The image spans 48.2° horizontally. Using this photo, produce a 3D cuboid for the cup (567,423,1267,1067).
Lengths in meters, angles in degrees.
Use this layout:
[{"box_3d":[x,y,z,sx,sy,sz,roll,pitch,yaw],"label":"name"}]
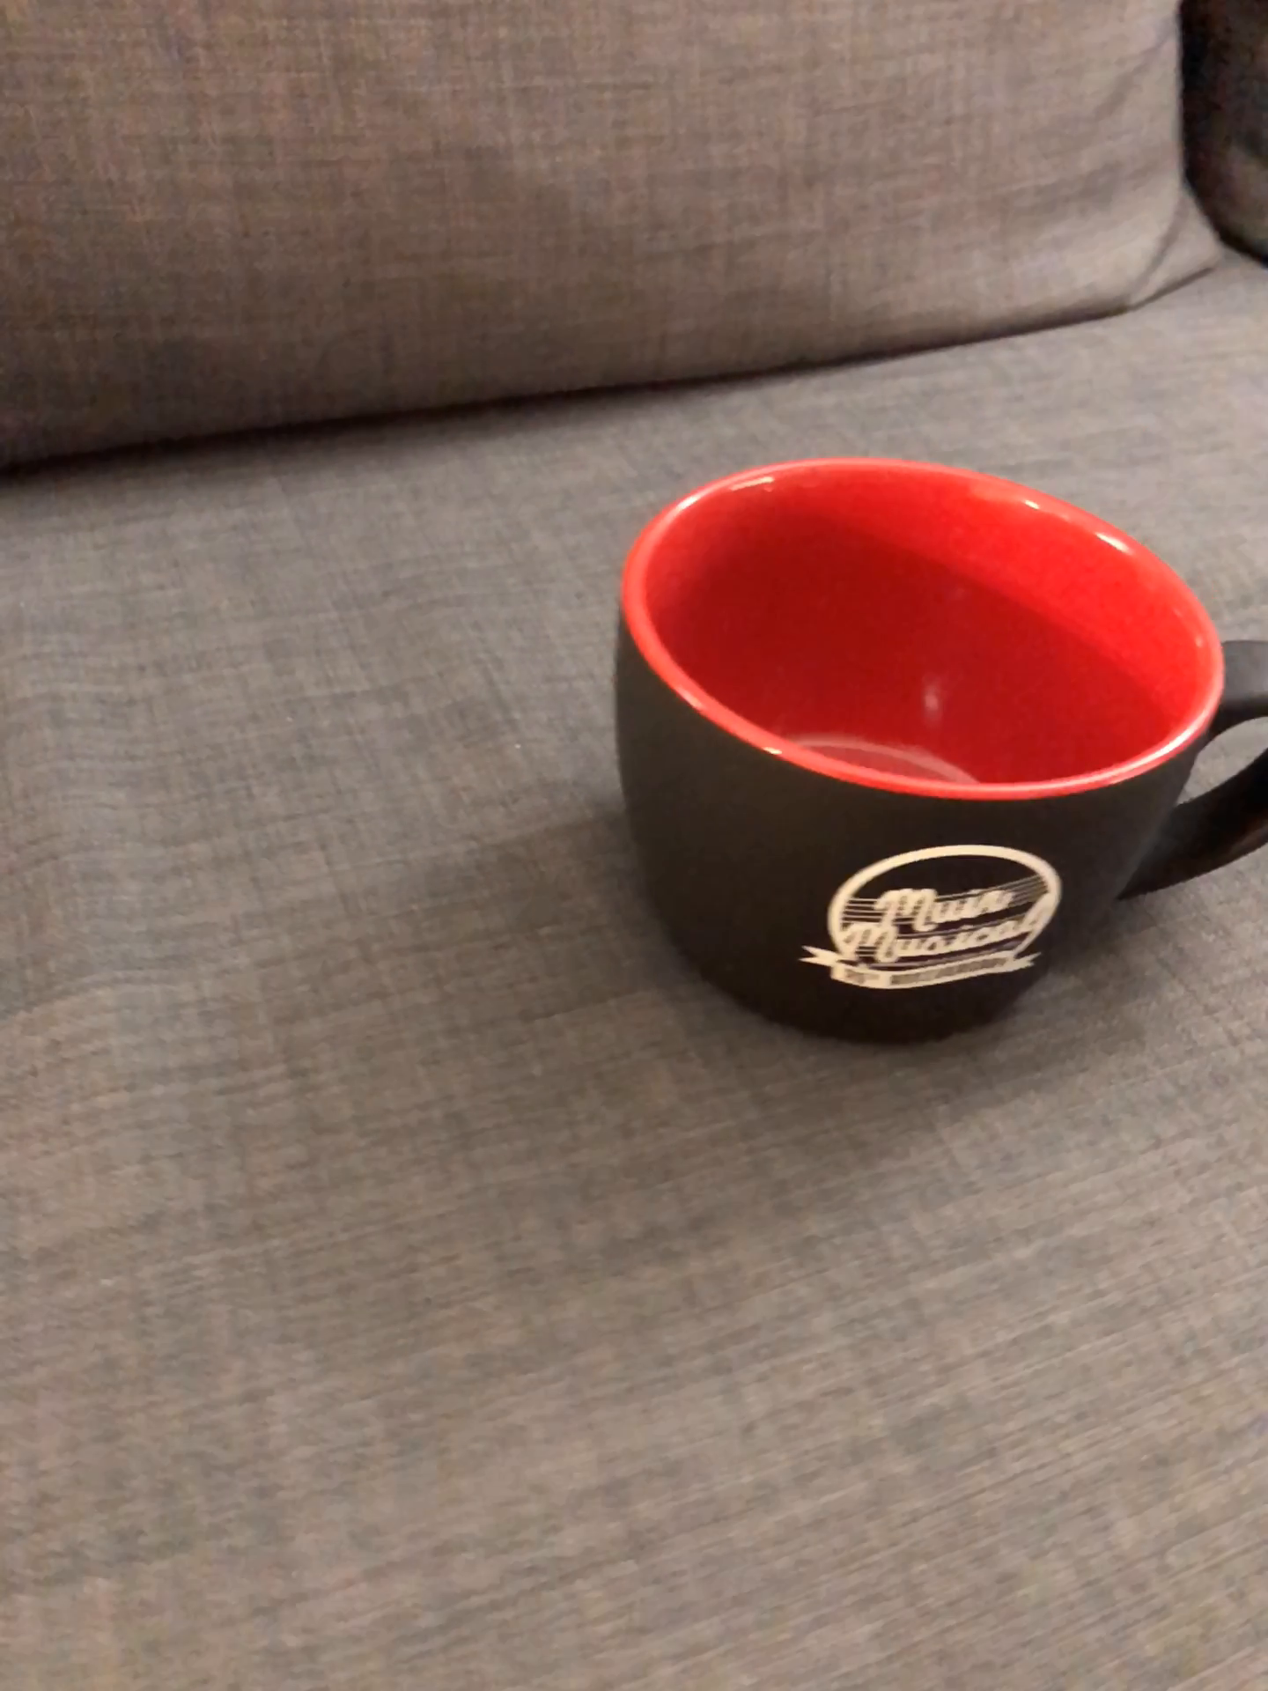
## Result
[{"box_3d":[0.066,-0.025,0.306,0.160,0.080,0.121,0,42,-2],"label":"cup"}]
